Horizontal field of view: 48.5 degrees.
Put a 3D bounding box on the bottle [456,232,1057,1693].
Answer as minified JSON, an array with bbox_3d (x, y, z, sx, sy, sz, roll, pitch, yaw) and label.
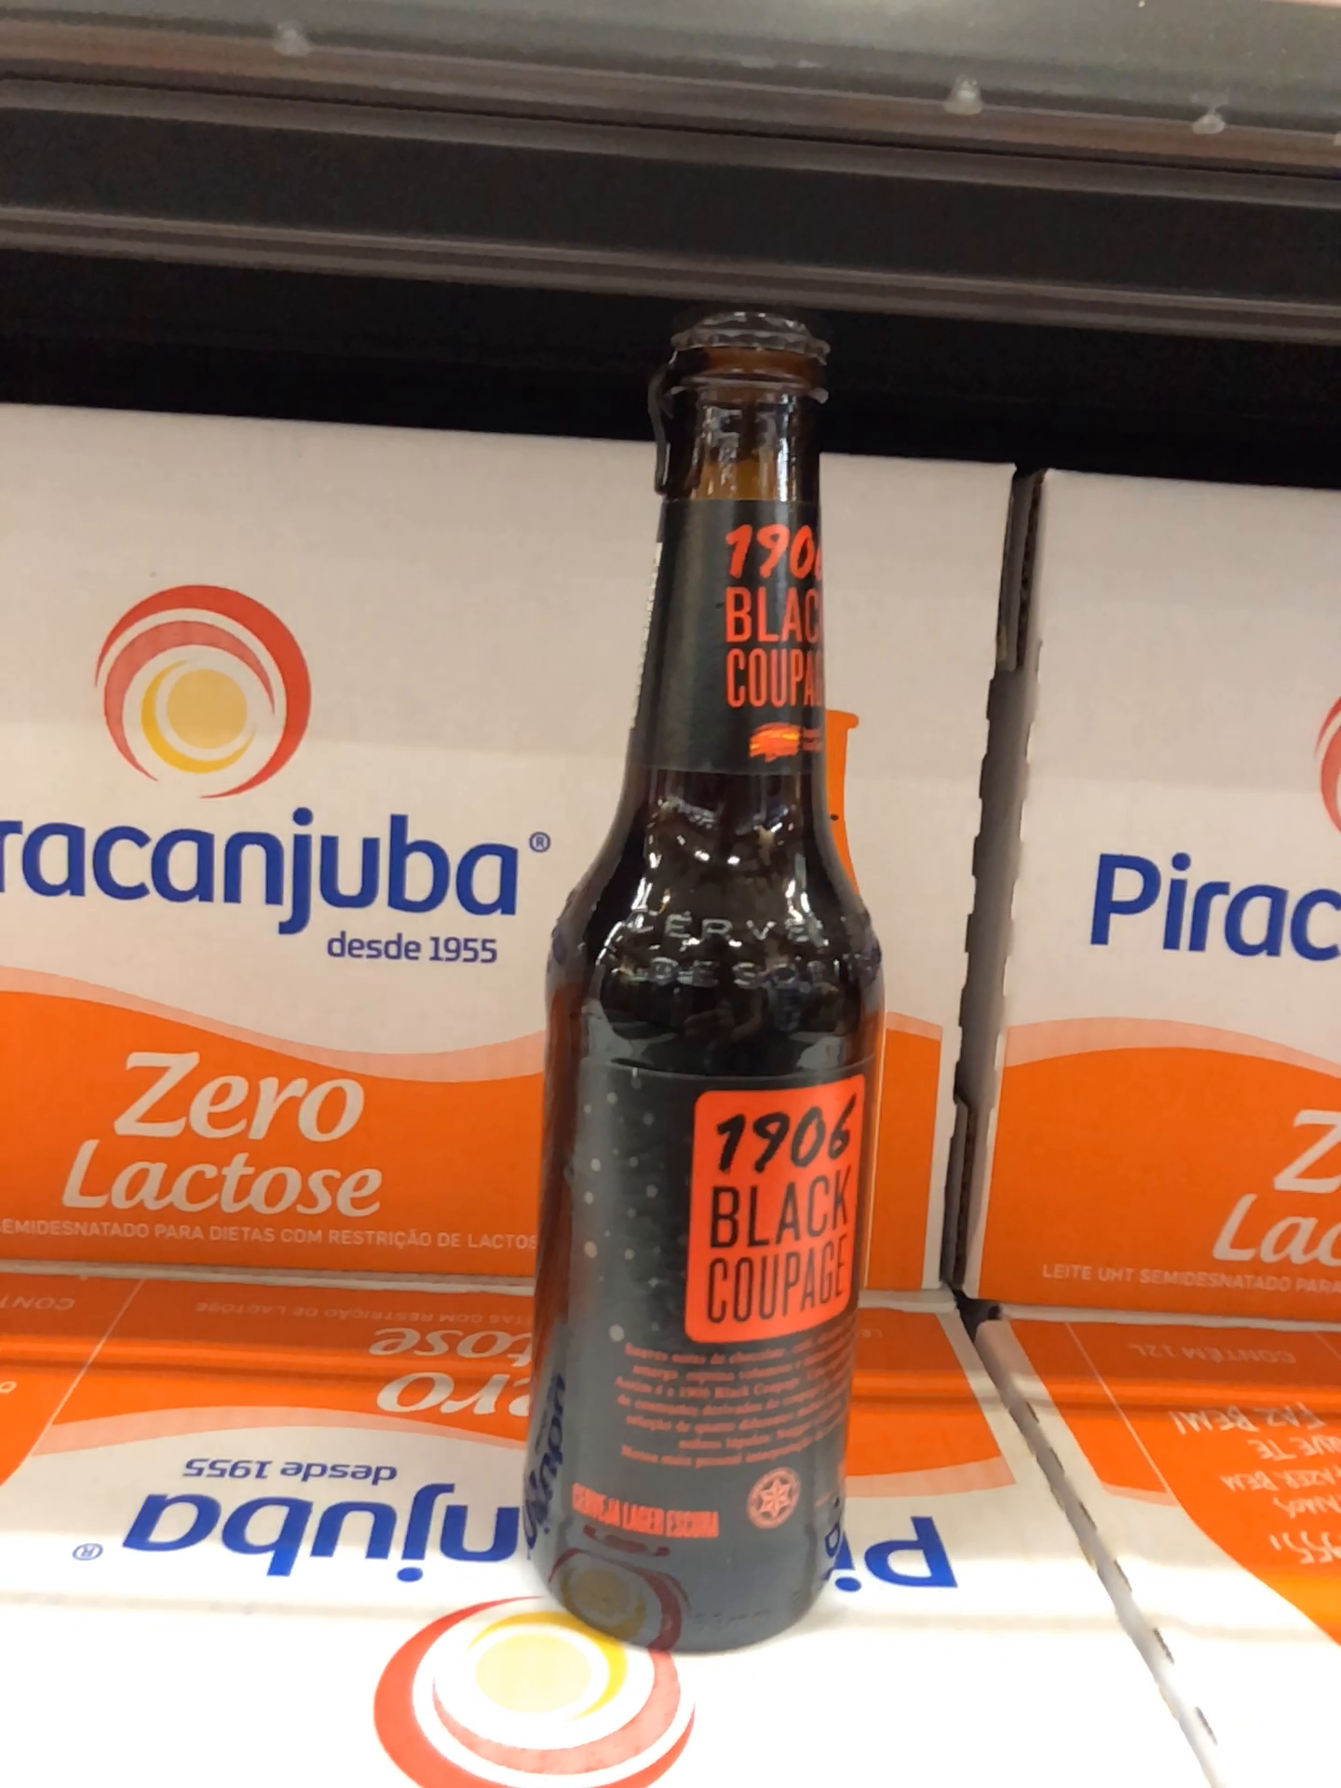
[{"bbox_3d":[0.011,0.011,0.263,0.070,0.219,0.060,-2,10,-33],"label":"bottle"}]
